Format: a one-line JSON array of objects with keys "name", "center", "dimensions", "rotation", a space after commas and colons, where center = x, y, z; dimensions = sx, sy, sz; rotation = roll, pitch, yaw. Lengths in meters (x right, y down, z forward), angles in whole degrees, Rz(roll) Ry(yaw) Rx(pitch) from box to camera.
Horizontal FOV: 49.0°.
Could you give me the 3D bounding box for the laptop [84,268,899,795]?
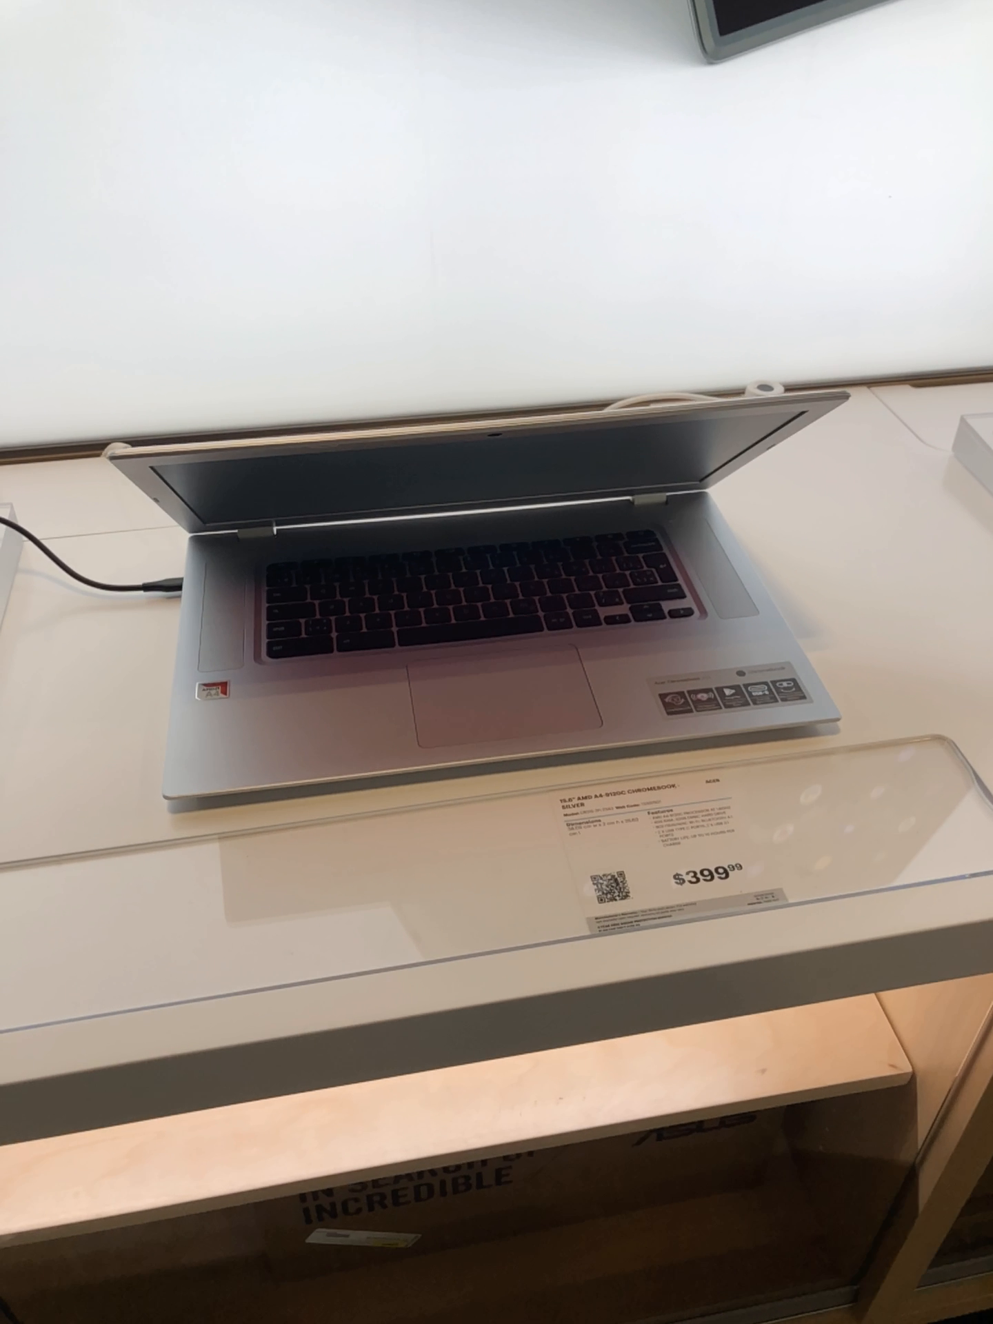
[{"name": "laptop", "center": [-0.014, -0.093, 0.637], "dimensions": [0.367, 0.166, 0.256], "rotation": [-6, 39, -7]}]
